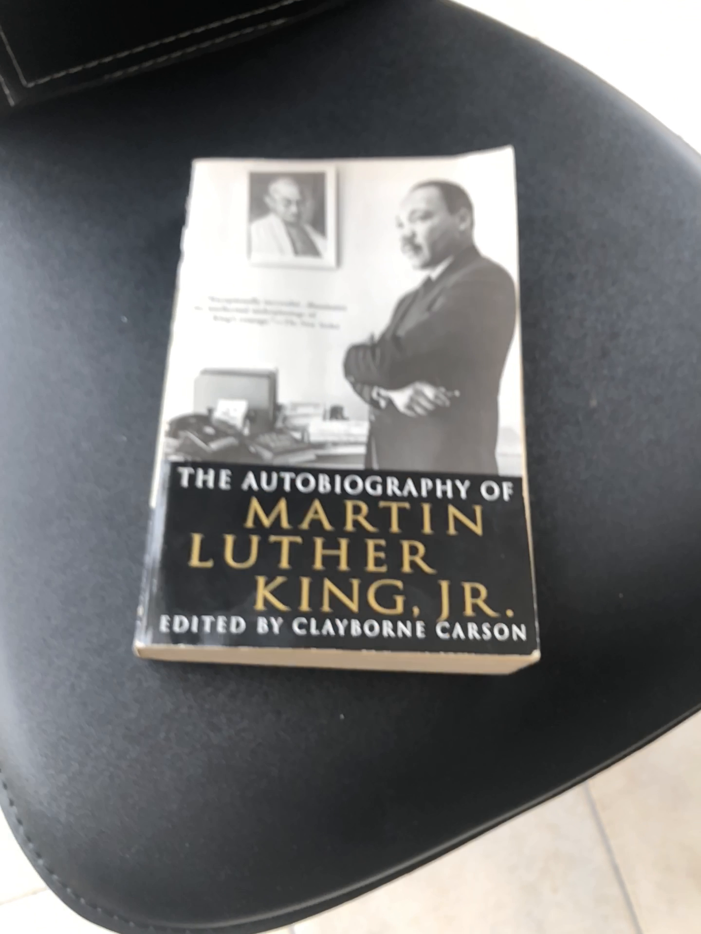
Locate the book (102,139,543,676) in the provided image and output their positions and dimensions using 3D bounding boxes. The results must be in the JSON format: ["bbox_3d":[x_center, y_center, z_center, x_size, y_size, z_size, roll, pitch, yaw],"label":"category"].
[{"bbox_3d":[-0.005,-0.032,0.344,0.160,0.050,0.230,1,71,4],"label":"book"}]
